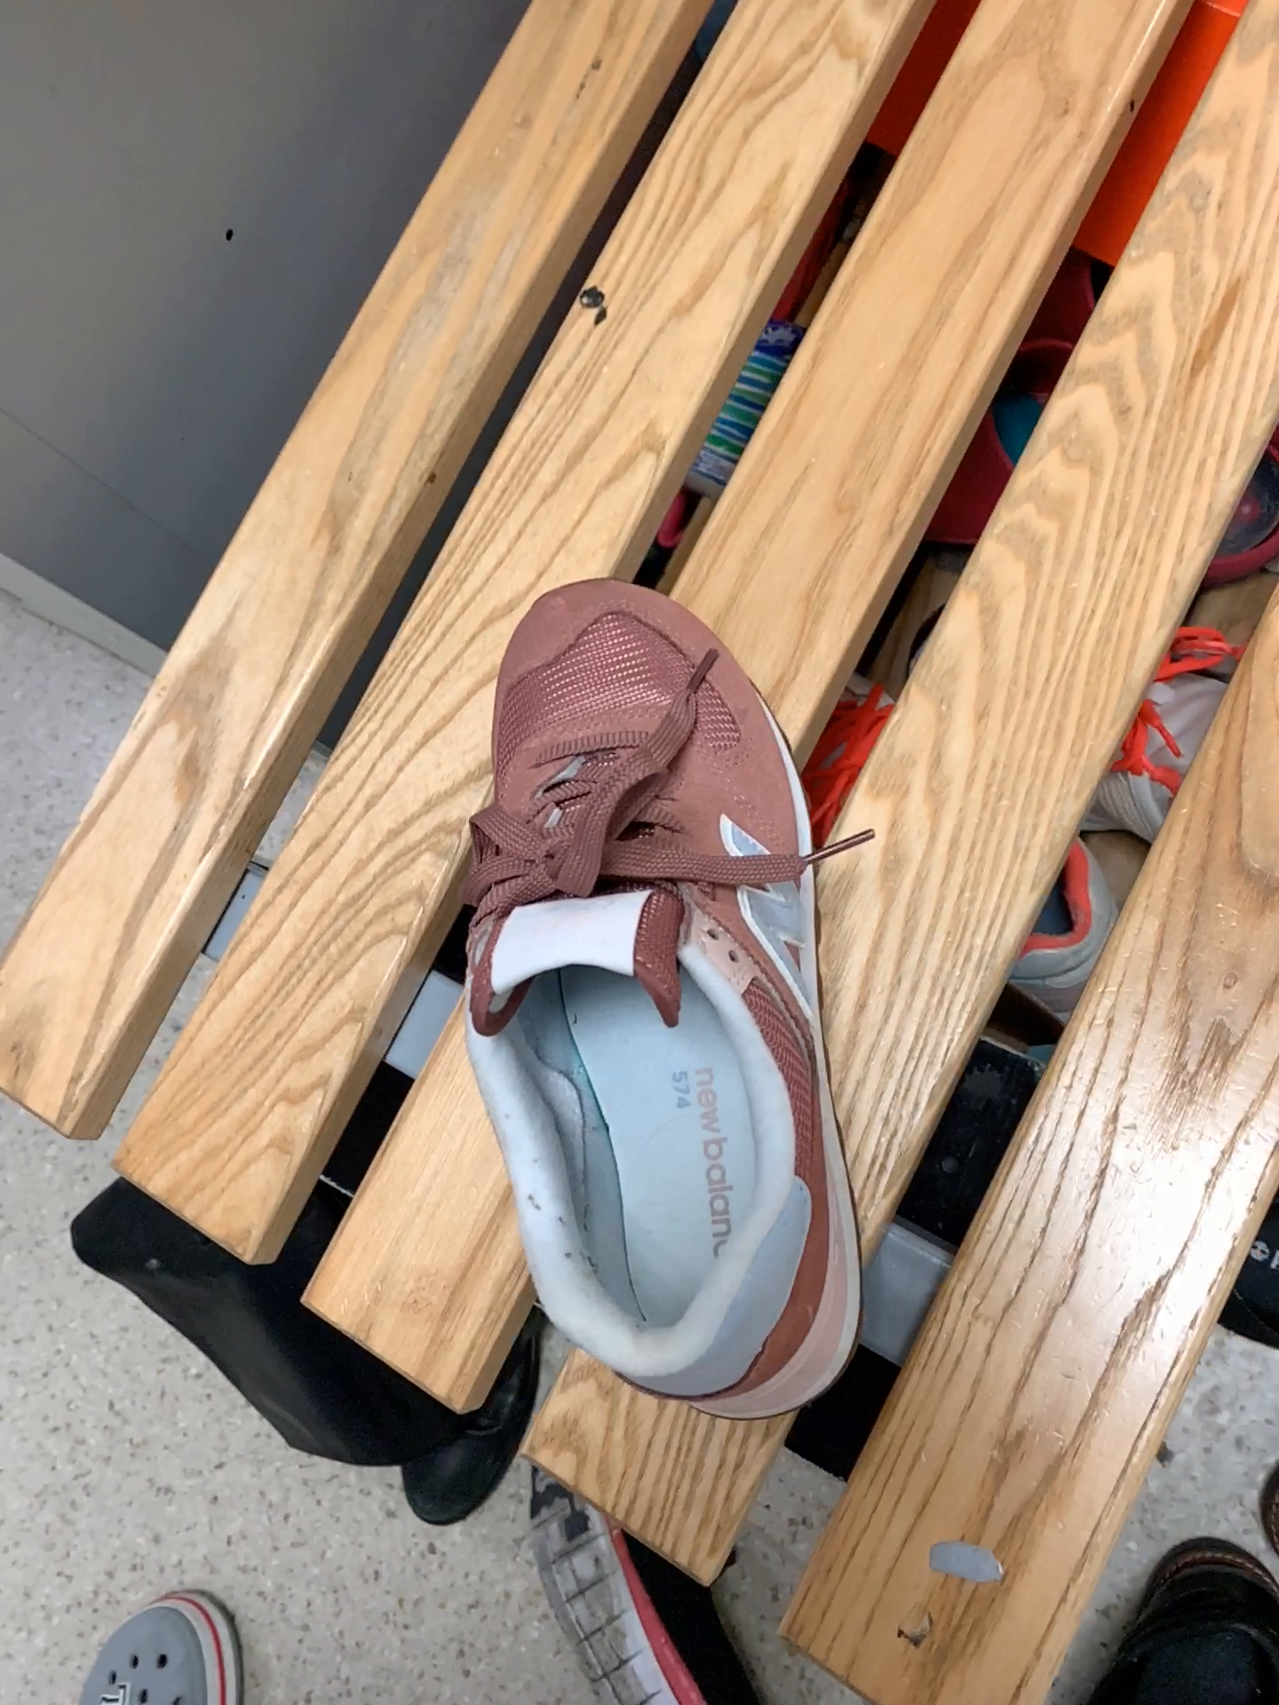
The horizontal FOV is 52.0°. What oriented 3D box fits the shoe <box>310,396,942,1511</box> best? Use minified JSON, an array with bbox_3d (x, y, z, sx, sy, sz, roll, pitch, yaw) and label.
[{"bbox_3d":[-0.005,0.026,0.371,0.109,0.105,0.260,-15,72,14],"label":"shoe"}]
